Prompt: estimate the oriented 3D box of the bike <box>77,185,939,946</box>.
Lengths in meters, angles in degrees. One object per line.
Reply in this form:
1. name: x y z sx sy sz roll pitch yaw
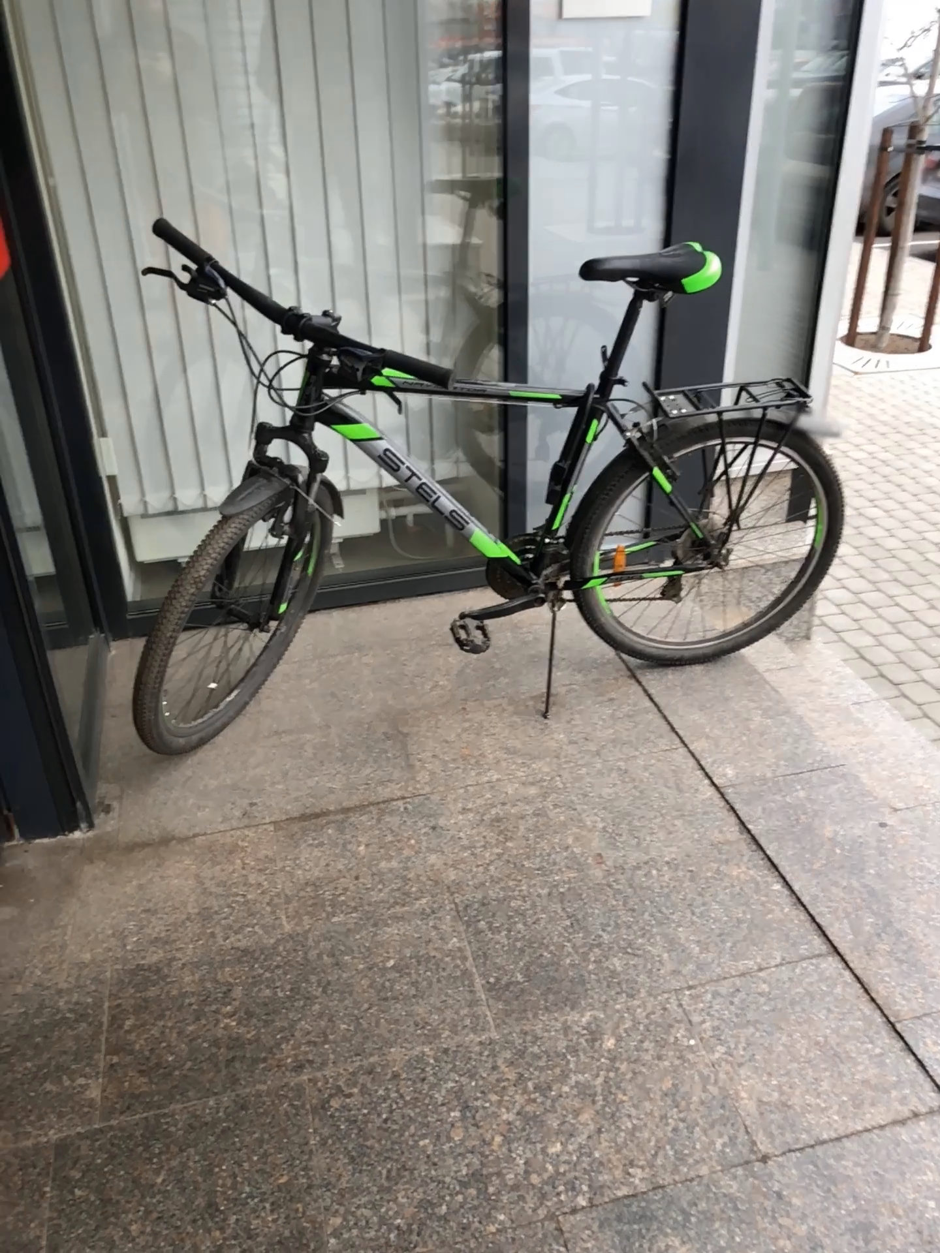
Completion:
1. bike: 0.139 -0.216 2.026 1.546 1.051 0.631 -12 31 -19
